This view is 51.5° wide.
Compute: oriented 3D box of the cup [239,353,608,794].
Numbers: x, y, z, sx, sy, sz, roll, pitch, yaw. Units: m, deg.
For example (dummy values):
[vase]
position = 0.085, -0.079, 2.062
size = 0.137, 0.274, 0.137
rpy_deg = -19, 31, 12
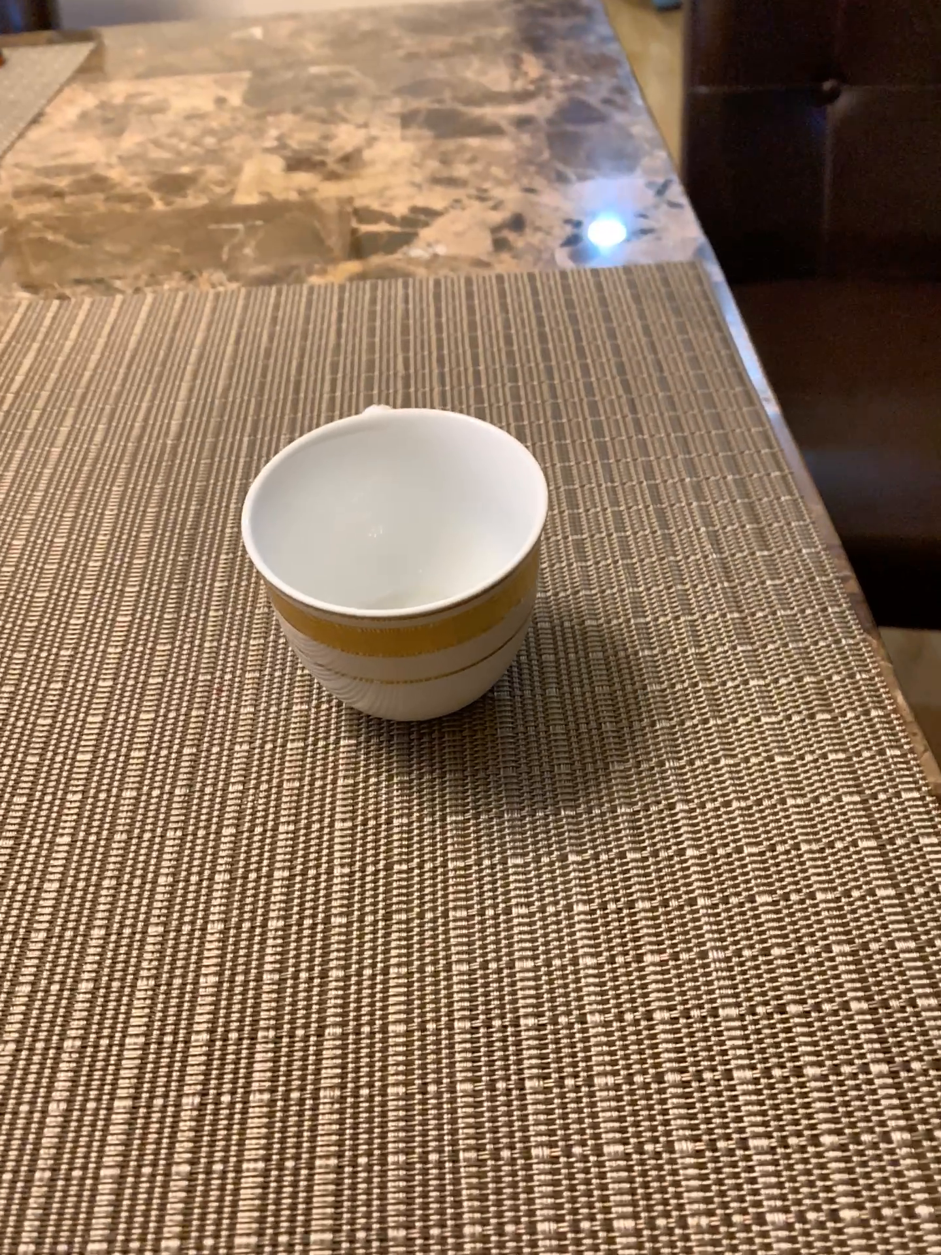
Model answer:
[cup]
position = -0.016, -0.019, 0.270
size = 0.082, 0.055, 0.104
rpy_deg = -9, 47, -4
